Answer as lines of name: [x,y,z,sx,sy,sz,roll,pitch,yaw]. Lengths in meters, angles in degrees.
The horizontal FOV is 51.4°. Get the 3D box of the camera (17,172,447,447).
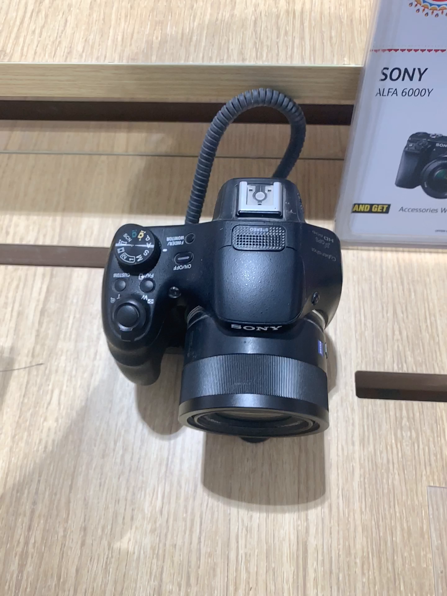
camera: [0.007,0.012,0.209,0.140,0.100,0.090,1,66,2]
